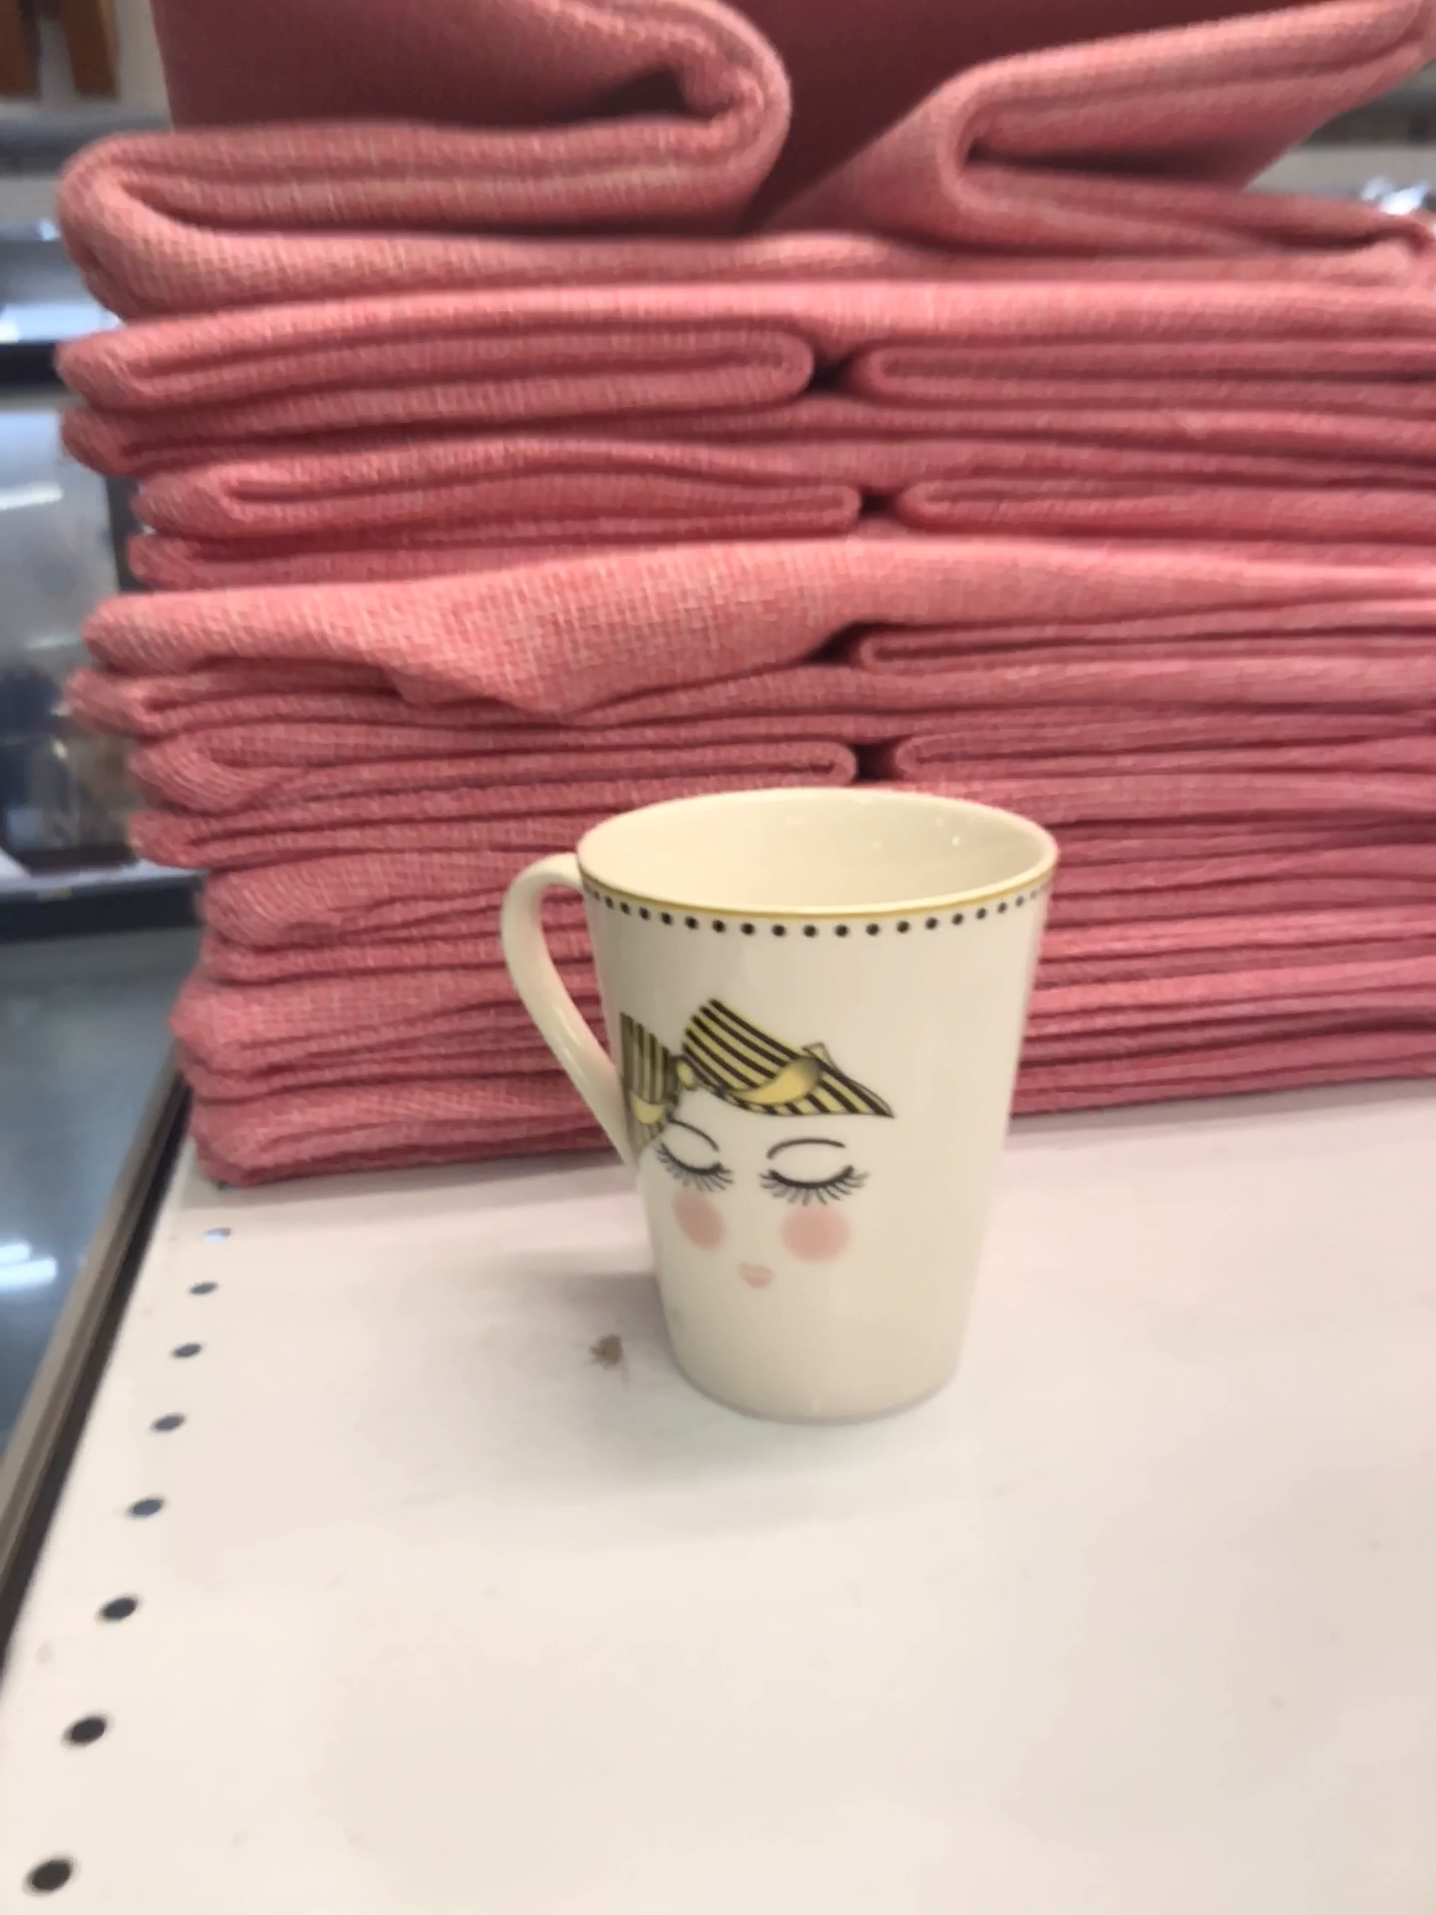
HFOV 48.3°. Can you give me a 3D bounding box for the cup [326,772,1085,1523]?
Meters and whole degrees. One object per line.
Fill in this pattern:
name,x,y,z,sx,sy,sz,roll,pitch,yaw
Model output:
cup,0.004,0.025,0.306,0.110,0.099,0.090,5,20,25
